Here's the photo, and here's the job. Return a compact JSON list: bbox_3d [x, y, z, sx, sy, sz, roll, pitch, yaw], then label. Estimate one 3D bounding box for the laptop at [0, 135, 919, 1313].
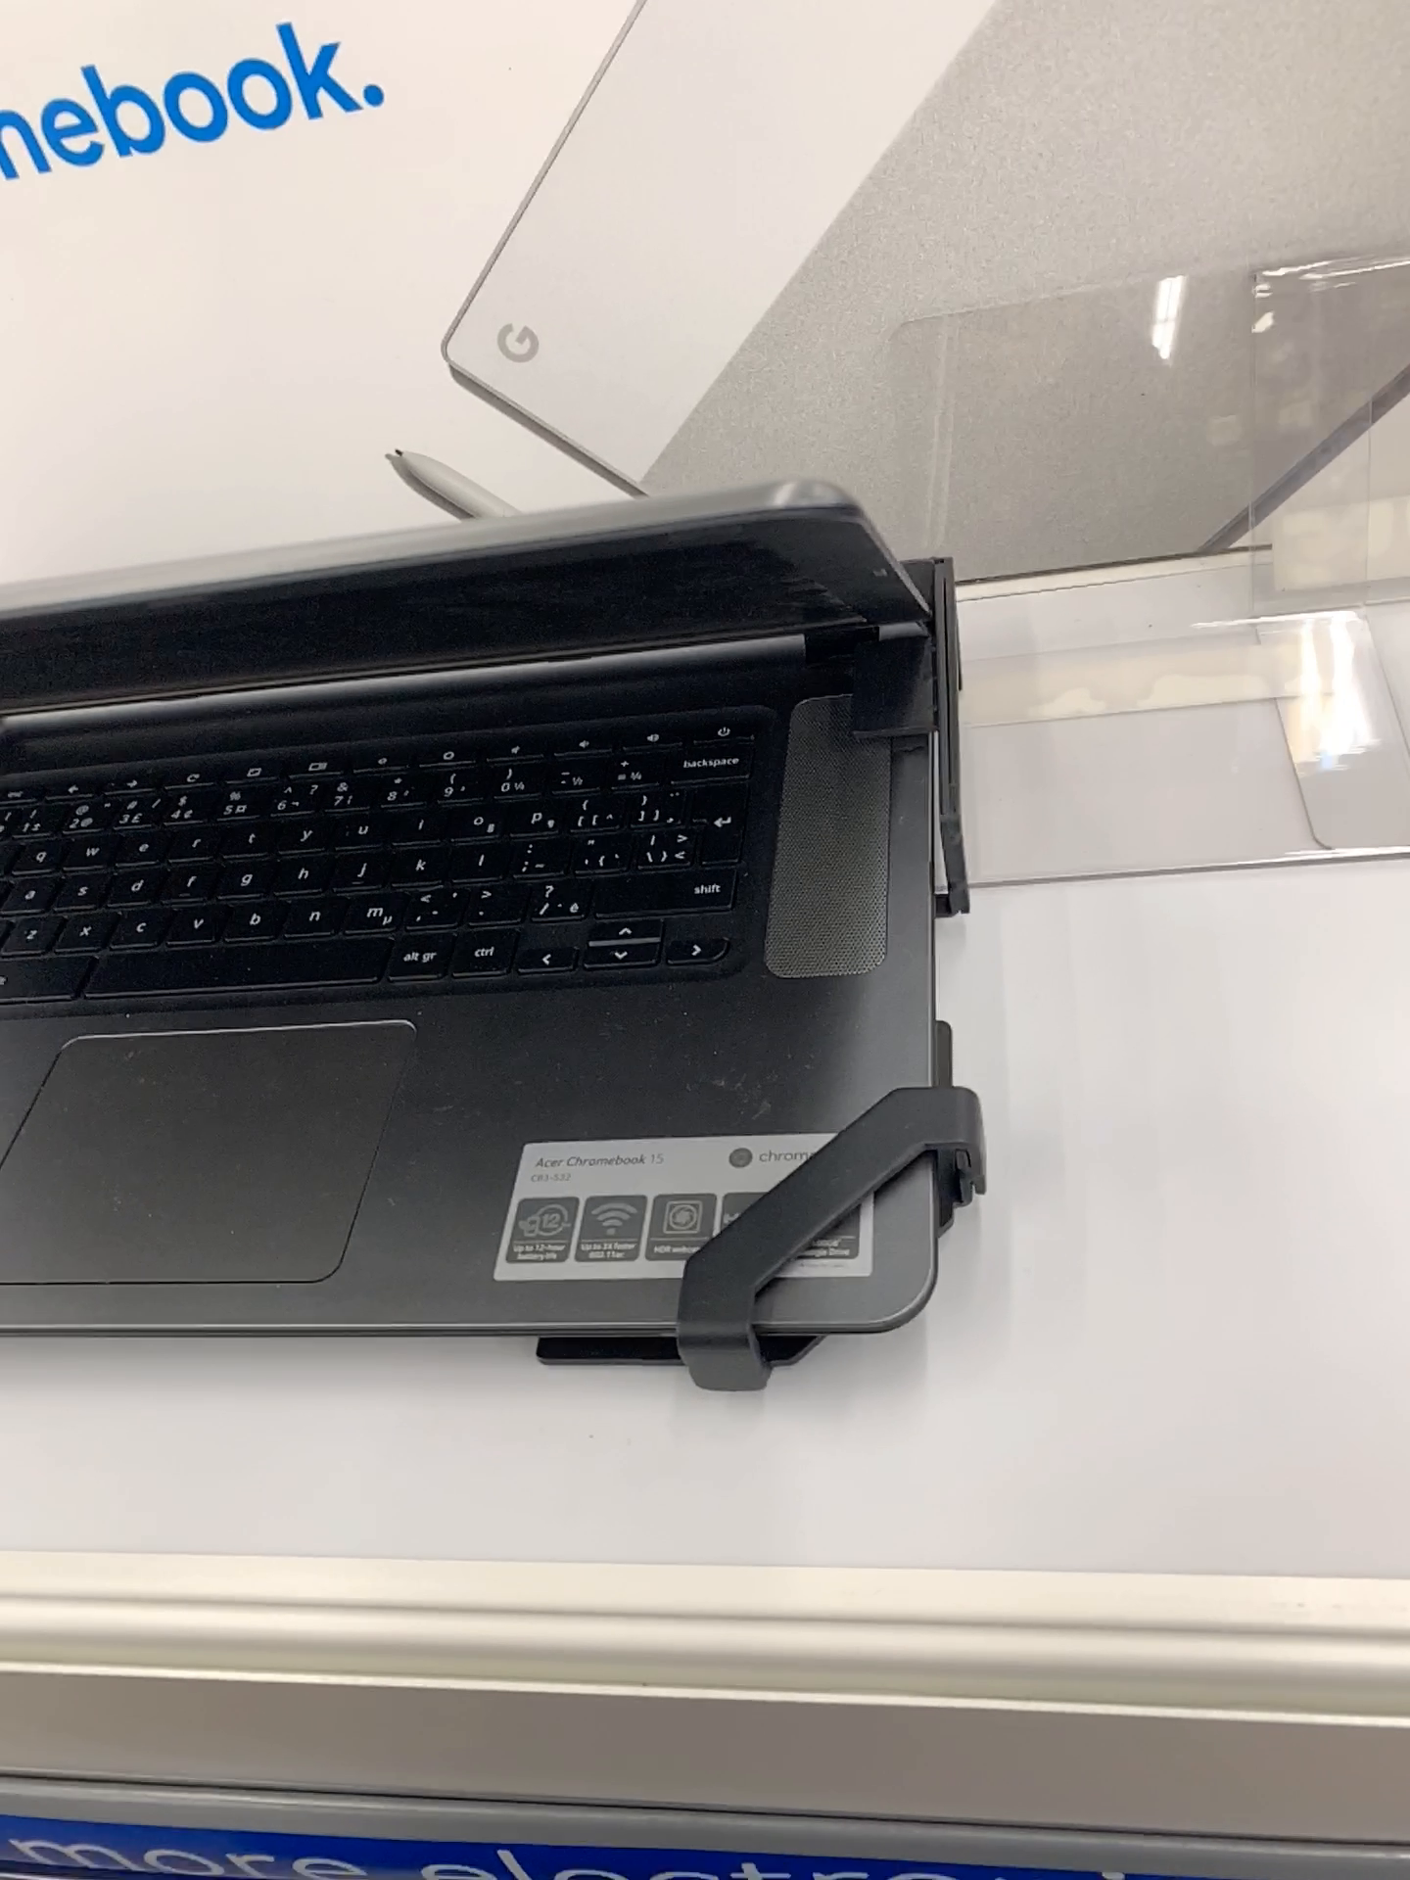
[{"bbox_3d":[-0.114,-0.041,0.300,0.301,0.116,0.194,-4,47,13],"label":"laptop"}]
